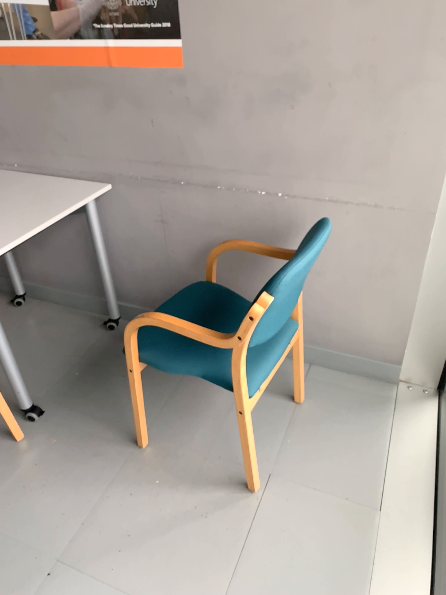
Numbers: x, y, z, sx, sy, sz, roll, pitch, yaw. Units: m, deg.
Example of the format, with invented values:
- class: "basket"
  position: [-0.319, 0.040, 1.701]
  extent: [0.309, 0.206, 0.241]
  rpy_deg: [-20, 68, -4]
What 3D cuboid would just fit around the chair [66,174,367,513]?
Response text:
- class: "chair"
  position: [0.039, 0.086, 1.526]
  extent: [0.642, 0.723, 0.685]
  rpy_deg: [13, 36, 23]
